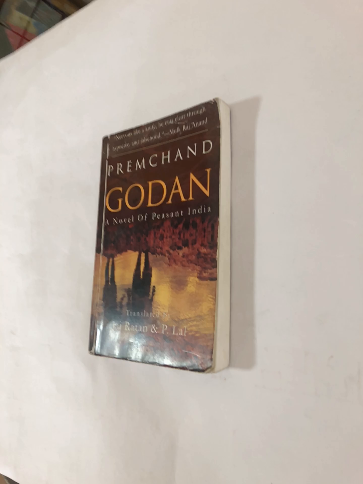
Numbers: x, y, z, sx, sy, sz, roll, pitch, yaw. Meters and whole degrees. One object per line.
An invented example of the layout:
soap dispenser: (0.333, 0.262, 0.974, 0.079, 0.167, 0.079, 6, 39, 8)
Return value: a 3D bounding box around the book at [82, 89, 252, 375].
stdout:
book: (-0.016, -0.006, 0.347, 0.151, 0.030, 0.210, -5, 78, 37)
